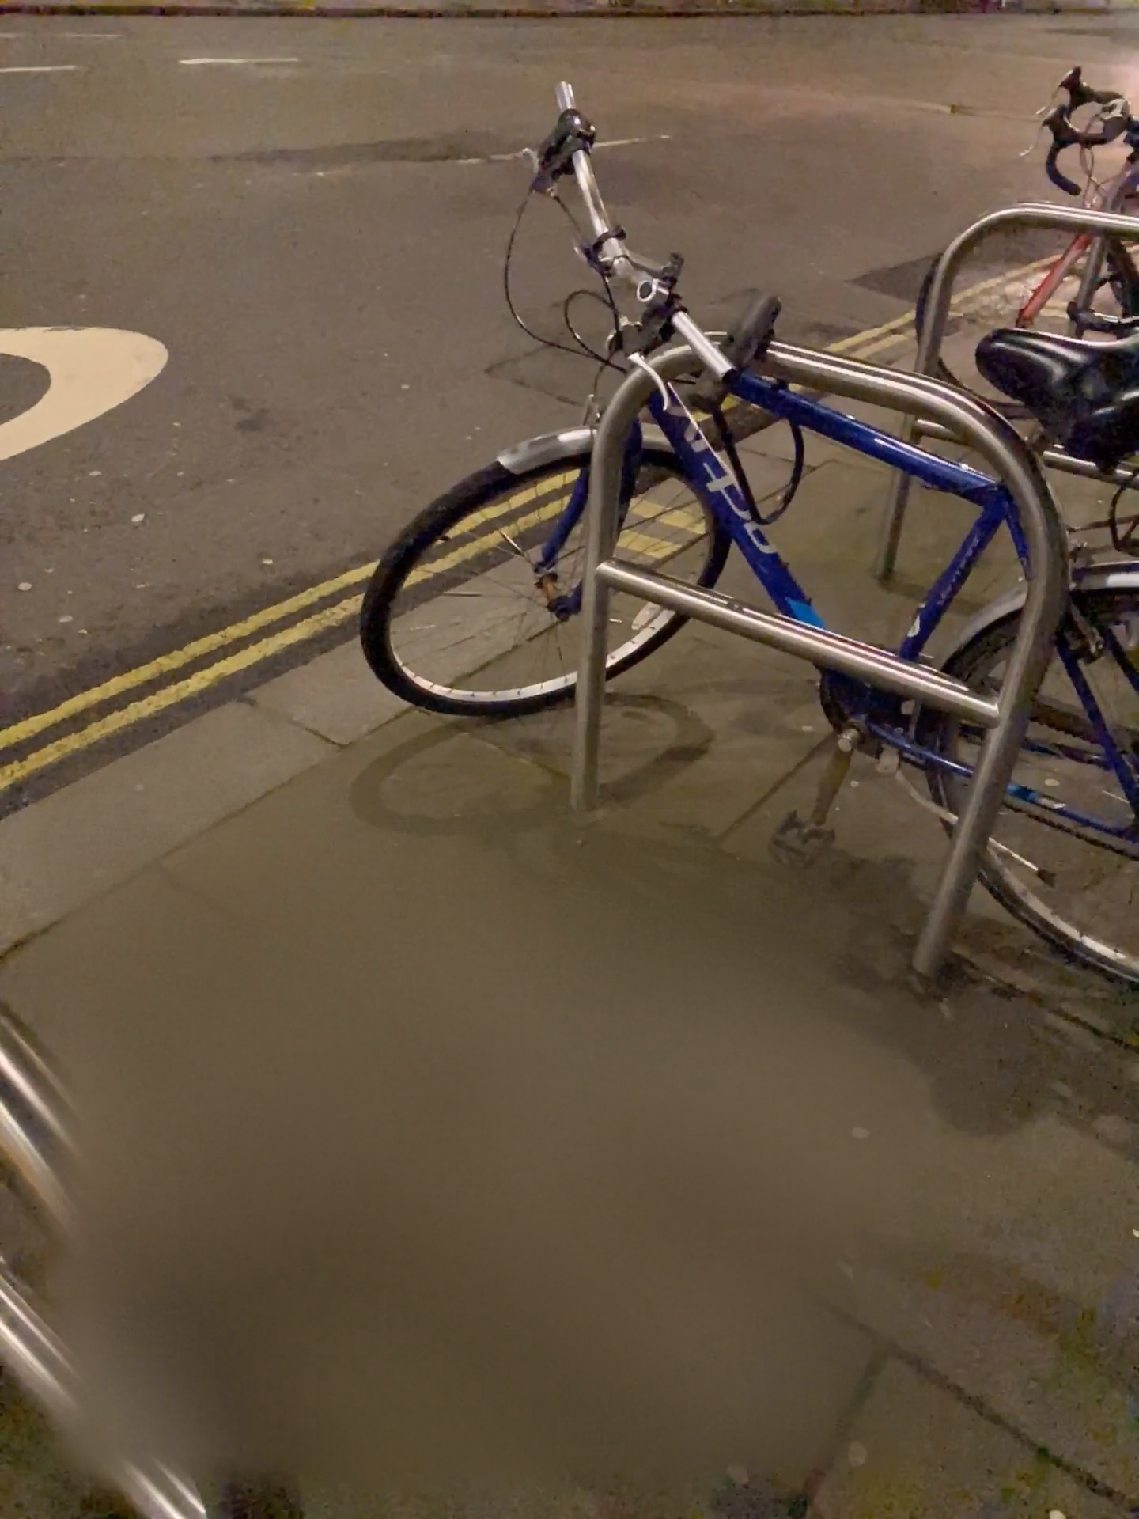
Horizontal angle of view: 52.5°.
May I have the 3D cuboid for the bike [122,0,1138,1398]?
[{"bbox_3d":[0.404,-0.186,1.450,1.595,1.108,0.659,22,40,21],"label":"bike"}]
